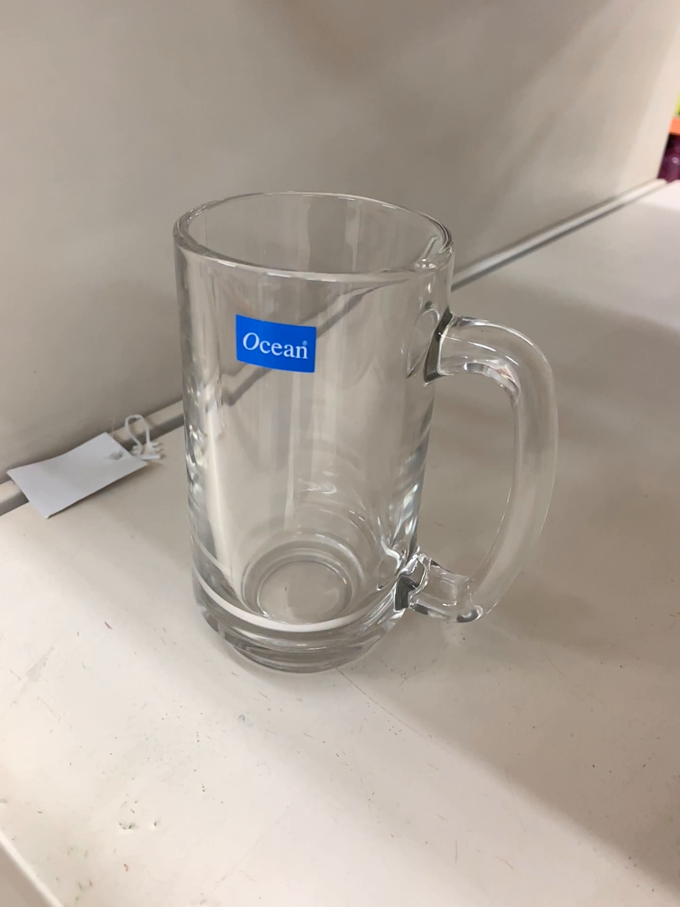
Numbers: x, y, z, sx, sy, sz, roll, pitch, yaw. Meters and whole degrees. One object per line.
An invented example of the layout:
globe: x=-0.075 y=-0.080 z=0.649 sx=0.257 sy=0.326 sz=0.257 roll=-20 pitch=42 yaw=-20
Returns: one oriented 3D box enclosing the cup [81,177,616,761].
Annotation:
cup: x=0.005 y=-0.001 z=0.209 sx=0.111 sy=0.127 sz=0.076 roll=14 pitch=35 yaw=18
